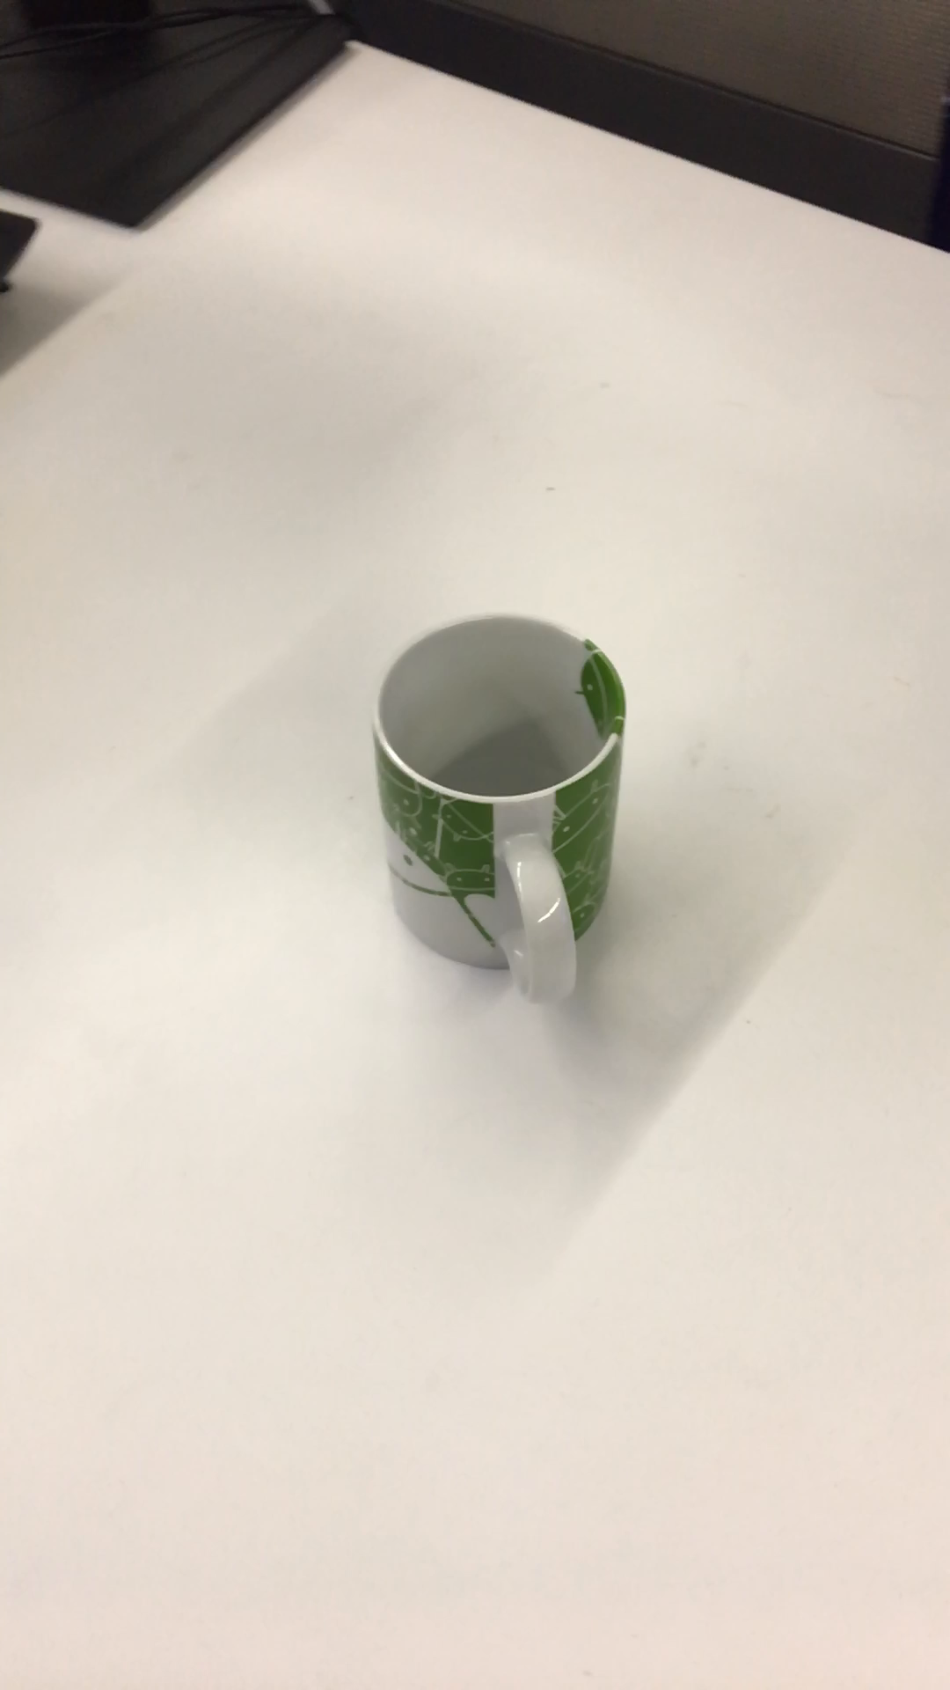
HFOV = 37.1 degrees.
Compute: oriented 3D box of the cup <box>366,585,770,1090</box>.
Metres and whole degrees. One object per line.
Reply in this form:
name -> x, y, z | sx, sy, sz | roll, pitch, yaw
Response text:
cup -> 0.025, -0.003, 0.466 | 0.090, 0.090, 0.120 | -13, 54, -8
